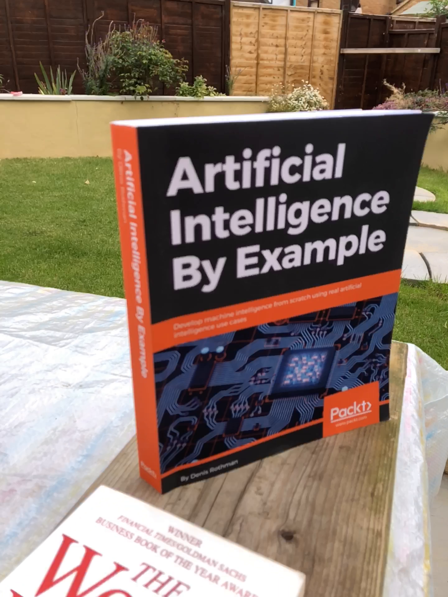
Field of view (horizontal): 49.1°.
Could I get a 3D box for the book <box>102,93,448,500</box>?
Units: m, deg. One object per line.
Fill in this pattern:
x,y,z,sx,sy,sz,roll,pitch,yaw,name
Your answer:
0.039,-0.007,0.327,0.210,0.239,0.040,-10,23,-23,book
